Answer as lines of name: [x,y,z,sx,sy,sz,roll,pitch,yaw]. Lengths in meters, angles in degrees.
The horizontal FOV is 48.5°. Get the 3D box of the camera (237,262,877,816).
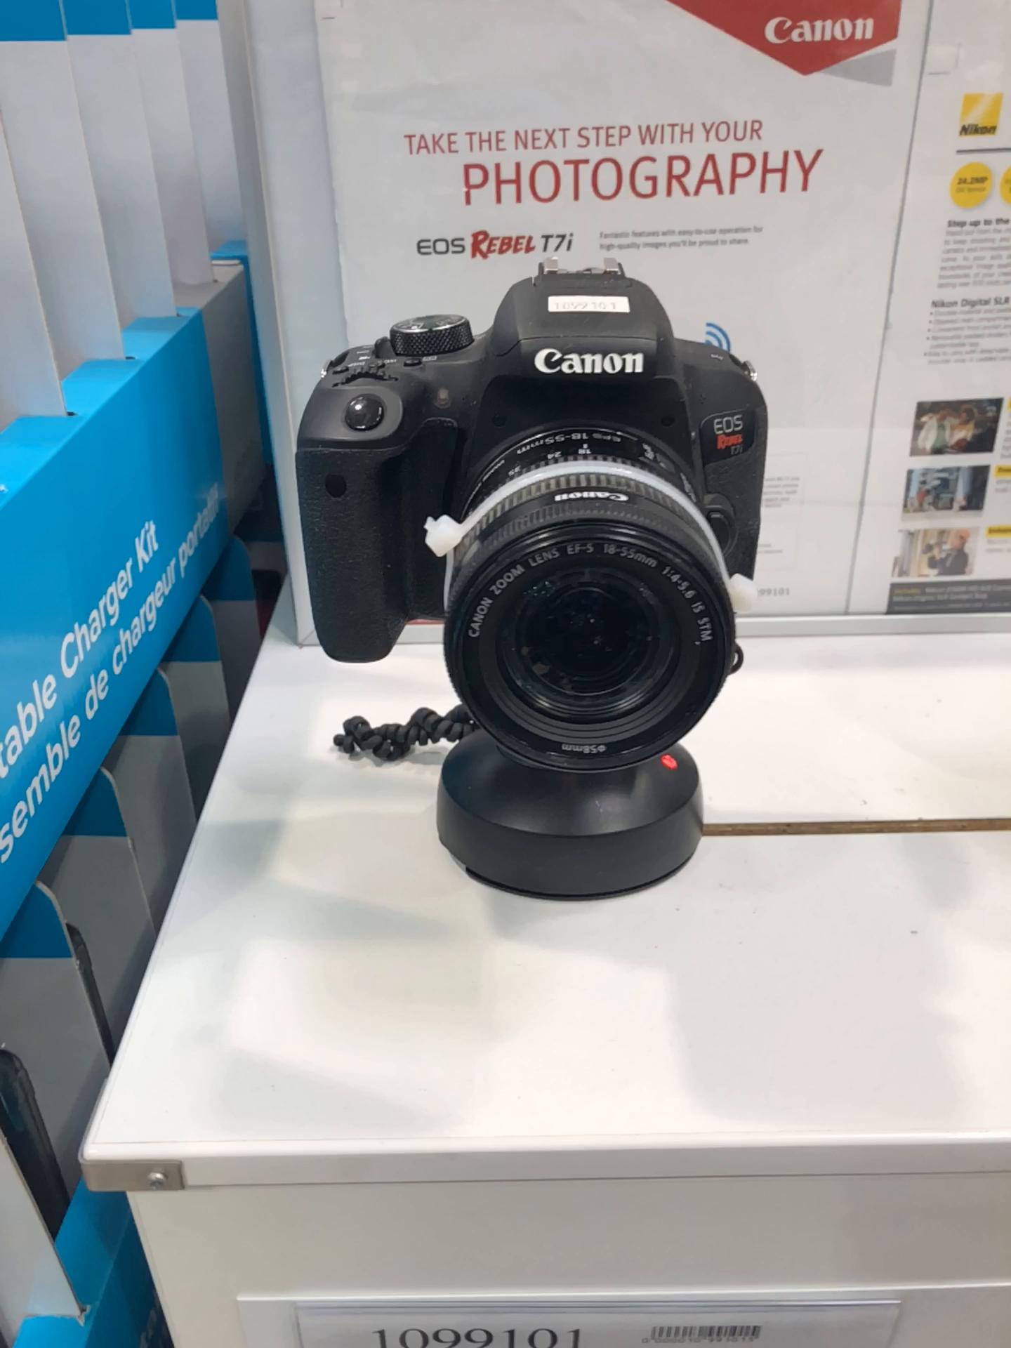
camera: [0.010,-0.048,0.318,0.130,0.100,0.151,-1,31,0]
